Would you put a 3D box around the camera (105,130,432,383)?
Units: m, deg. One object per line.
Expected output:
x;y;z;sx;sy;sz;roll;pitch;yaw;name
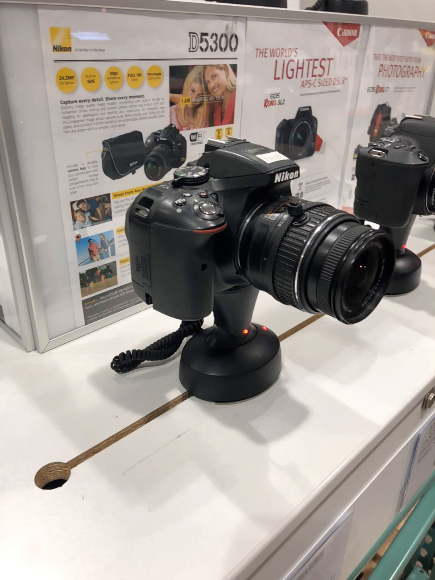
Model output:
0.029;-0.038;0.302;0.140;0.090;0.130;24;35;38;camera
